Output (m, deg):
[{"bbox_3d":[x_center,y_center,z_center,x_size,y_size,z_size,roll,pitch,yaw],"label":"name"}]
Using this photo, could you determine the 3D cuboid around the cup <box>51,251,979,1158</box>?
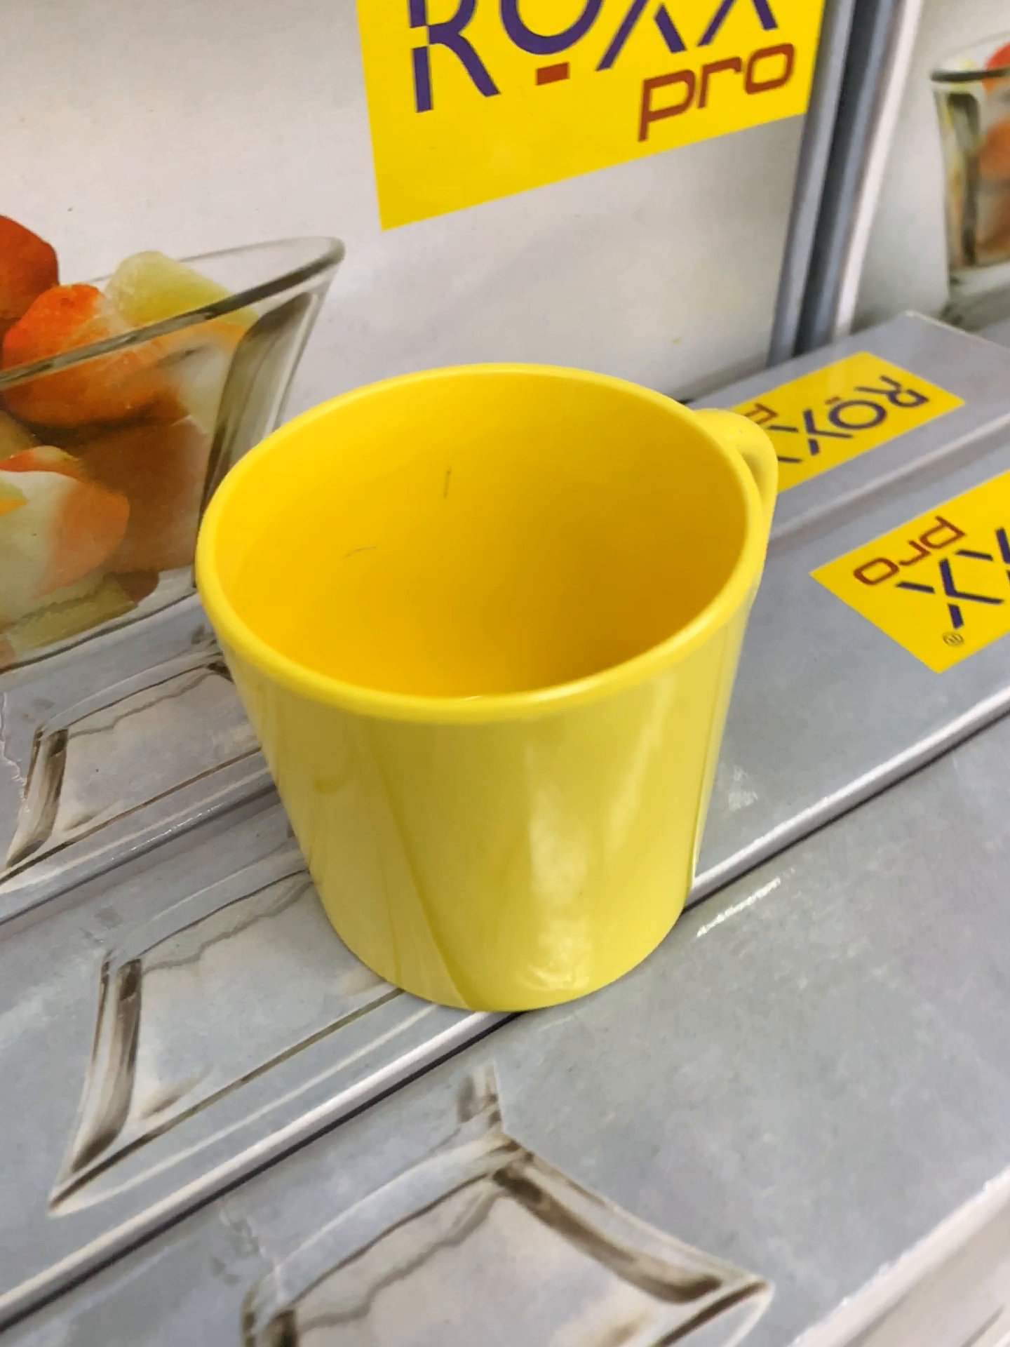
[{"bbox_3d":[0.004,-0.002,0.165,0.100,0.079,0.070,-32,51,-29],"label":"cup"}]
